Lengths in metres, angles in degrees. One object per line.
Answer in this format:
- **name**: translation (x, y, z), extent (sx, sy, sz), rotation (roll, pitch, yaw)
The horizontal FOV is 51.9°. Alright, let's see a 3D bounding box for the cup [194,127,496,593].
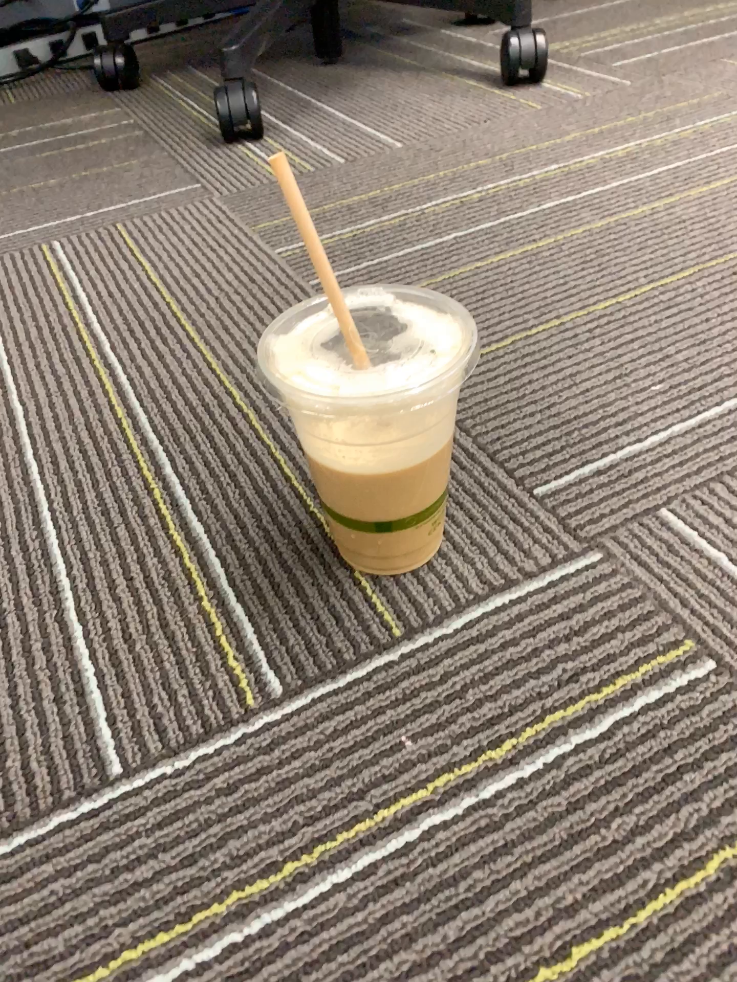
- **cup**: translation (0.002, -0.050, 0.341), extent (0.100, 0.179, 0.090), rotation (-4, 41, 5)
